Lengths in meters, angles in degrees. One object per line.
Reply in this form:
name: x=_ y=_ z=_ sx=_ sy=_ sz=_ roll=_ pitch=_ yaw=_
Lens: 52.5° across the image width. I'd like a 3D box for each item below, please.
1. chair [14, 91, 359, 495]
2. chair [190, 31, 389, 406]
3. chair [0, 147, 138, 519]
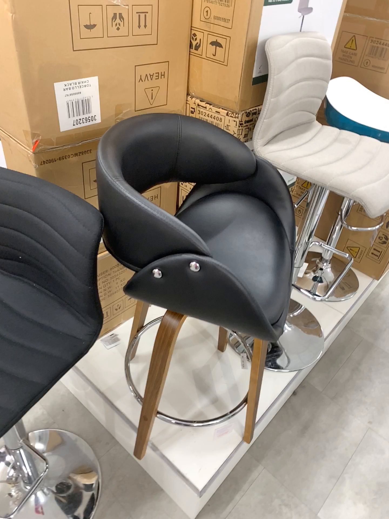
chair: x=-0.001 y=0.122 z=1.112 sx=0.547 sy=0.897 sz=0.570 roll=12 pitch=42 yaw=7
chair: x=0.346 y=-0.106 z=1.218 sx=0.438 sy=0.967 sz=0.437 roll=31 pitch=42 yaw=27
chair: x=-0.497 y=0.337 z=0.994 sx=0.486 sy=1.016 sz=0.470 roll=24 pitch=41 yaw=26
